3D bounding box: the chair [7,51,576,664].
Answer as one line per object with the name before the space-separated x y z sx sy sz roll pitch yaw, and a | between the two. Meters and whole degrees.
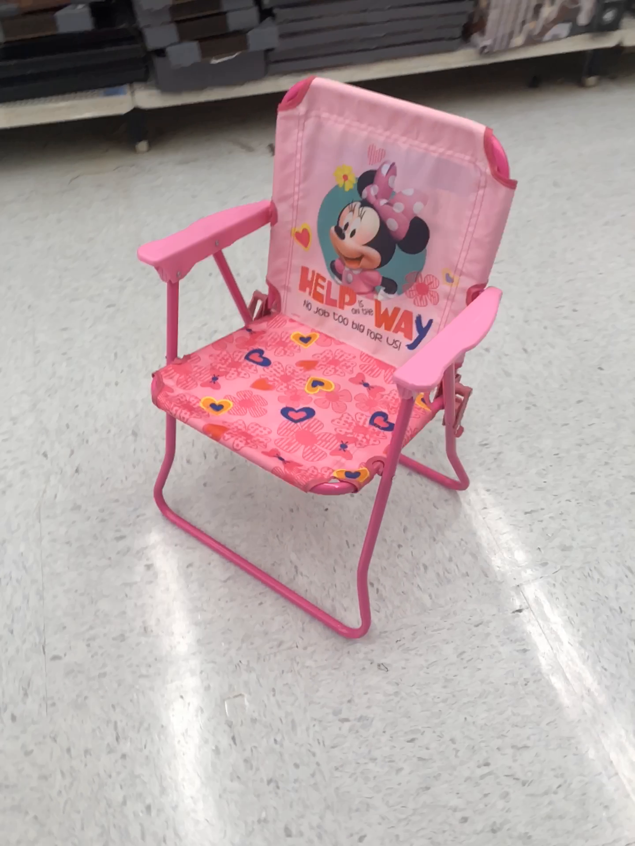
chair | -0.013 -0.064 0.789 0.361 0.488 0.341 28 55 23
